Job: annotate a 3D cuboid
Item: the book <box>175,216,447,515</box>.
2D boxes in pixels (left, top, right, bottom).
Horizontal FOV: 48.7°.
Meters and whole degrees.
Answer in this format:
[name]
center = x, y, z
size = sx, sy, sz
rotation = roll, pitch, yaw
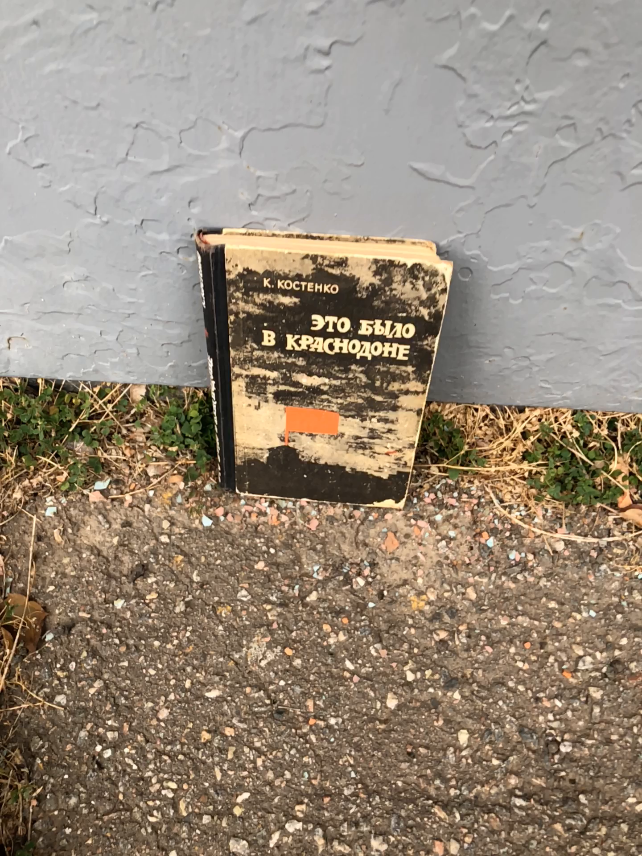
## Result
[book]
center = -0.007, -0.028, 0.443
size = 0.140, 0.199, 0.030
rotation = 5, 43, 3
